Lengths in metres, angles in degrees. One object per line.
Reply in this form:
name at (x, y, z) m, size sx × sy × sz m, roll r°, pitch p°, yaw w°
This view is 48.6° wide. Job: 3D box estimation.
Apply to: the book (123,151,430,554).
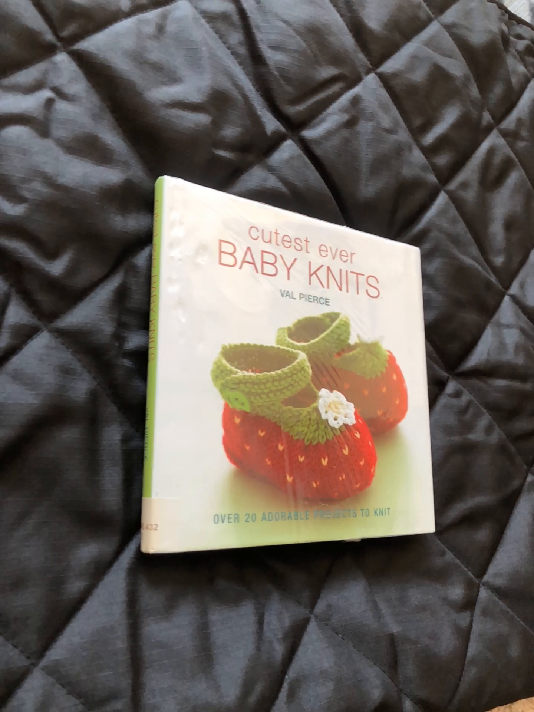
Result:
book at (0.017, 0.004, 0.351) m, size 0.198 × 0.020 × 0.200 m, roll 7°, pitch 77°, yaw -34°
